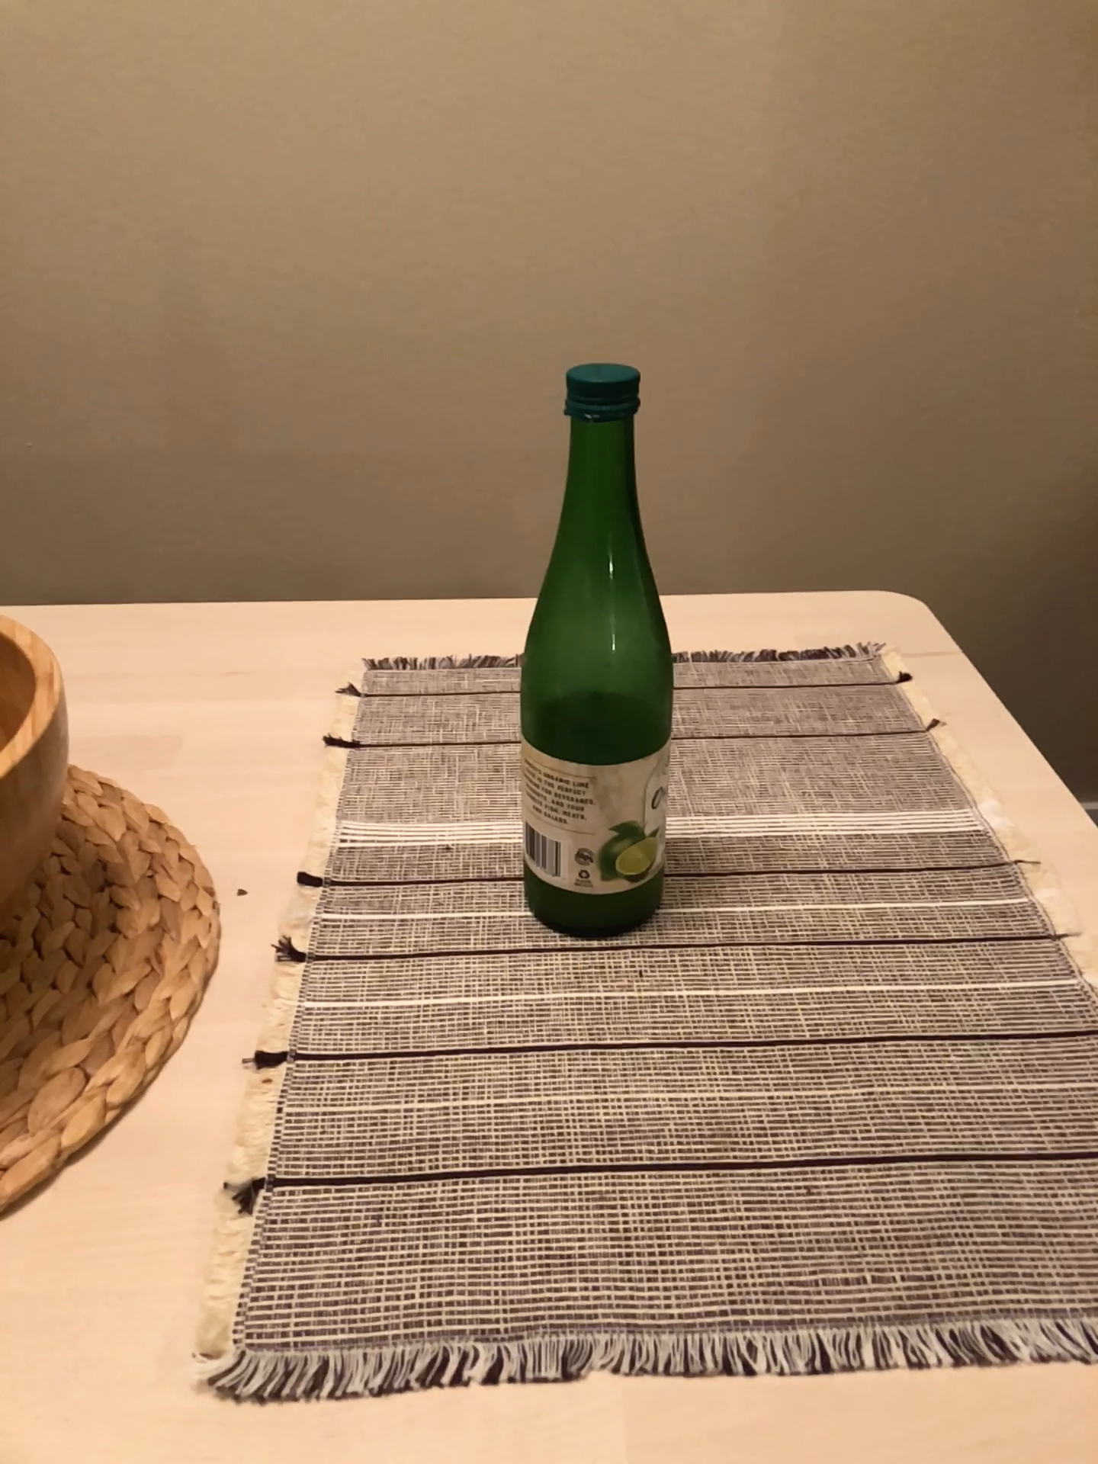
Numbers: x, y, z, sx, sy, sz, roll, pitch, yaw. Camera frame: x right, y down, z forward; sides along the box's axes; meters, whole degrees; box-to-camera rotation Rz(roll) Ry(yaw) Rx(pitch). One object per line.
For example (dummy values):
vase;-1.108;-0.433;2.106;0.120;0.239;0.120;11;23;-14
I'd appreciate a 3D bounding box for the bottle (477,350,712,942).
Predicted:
bottle;0.021;-0.033;0.515;0.081;0.236;0.080;0;28;0
